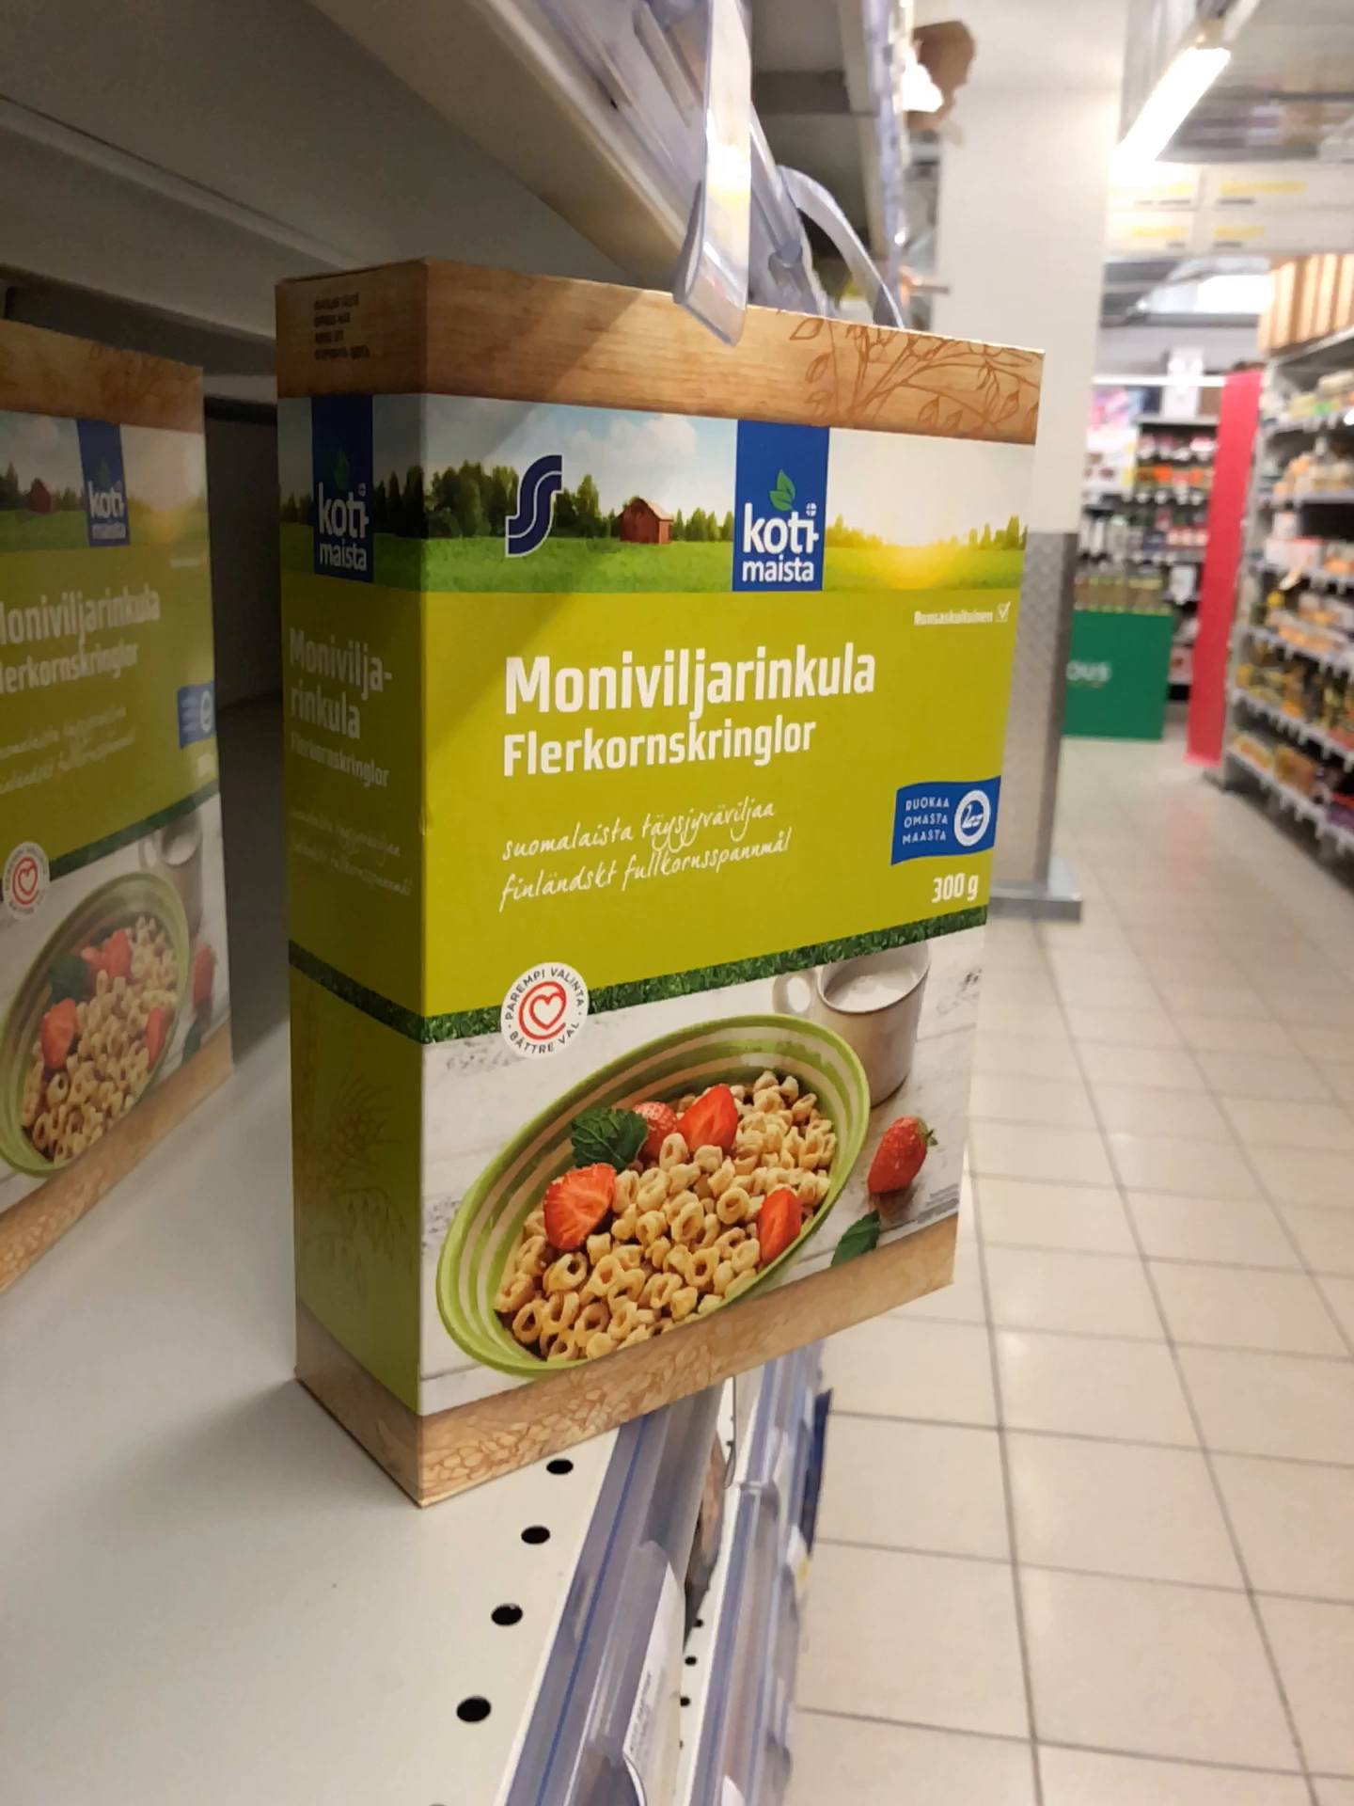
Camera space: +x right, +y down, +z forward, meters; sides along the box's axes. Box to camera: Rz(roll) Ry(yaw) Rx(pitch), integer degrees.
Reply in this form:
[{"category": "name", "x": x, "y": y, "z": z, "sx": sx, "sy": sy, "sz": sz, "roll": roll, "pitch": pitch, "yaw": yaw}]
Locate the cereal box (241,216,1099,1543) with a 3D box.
[{"category": "cereal box", "x": 0.003, "y": -0.011, "z": 0.369, "sx": 0.190, "sy": 0.259, "sz": 0.070, "roll": -9, "pitch": 18, "yaw": -37}]
